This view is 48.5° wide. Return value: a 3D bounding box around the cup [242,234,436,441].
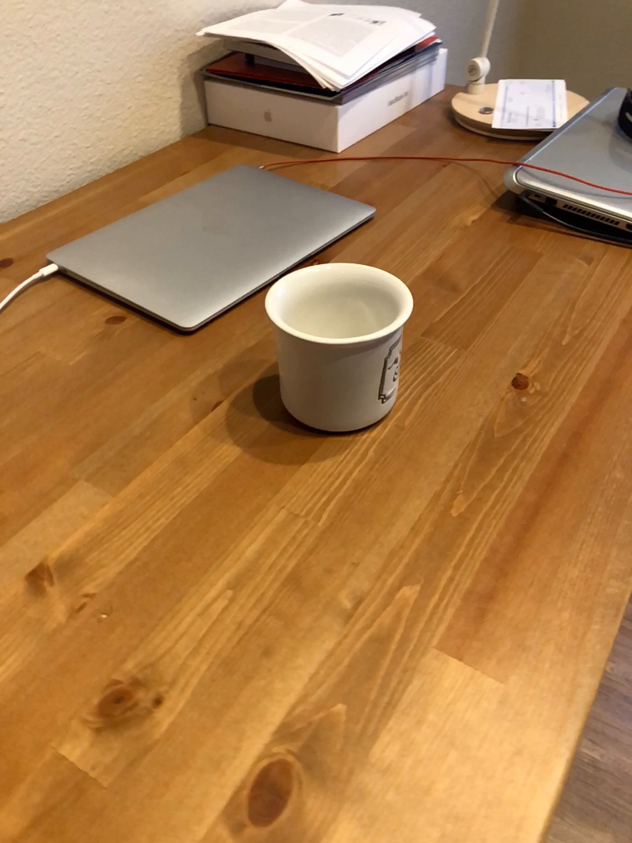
[{"bbox_3d":[0.024,-0.072,0.551,0.120,0.080,0.151,7,42,10],"label":"cup"}]
